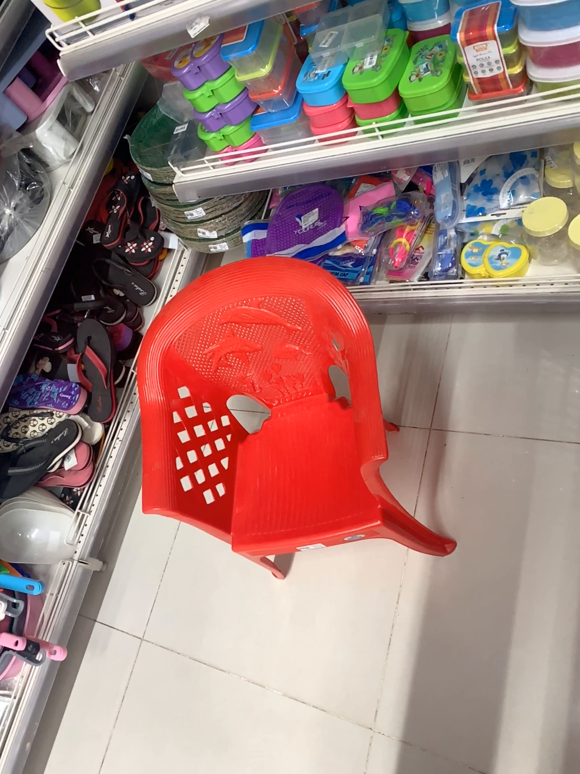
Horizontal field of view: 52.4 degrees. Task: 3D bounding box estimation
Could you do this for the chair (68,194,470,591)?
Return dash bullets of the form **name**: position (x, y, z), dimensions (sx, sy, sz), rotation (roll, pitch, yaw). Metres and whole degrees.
- **chair**: position (-0.010, 0.069, 1.101), dimensions (0.502, 0.478, 0.490), rotation (-15, 59, 24)
